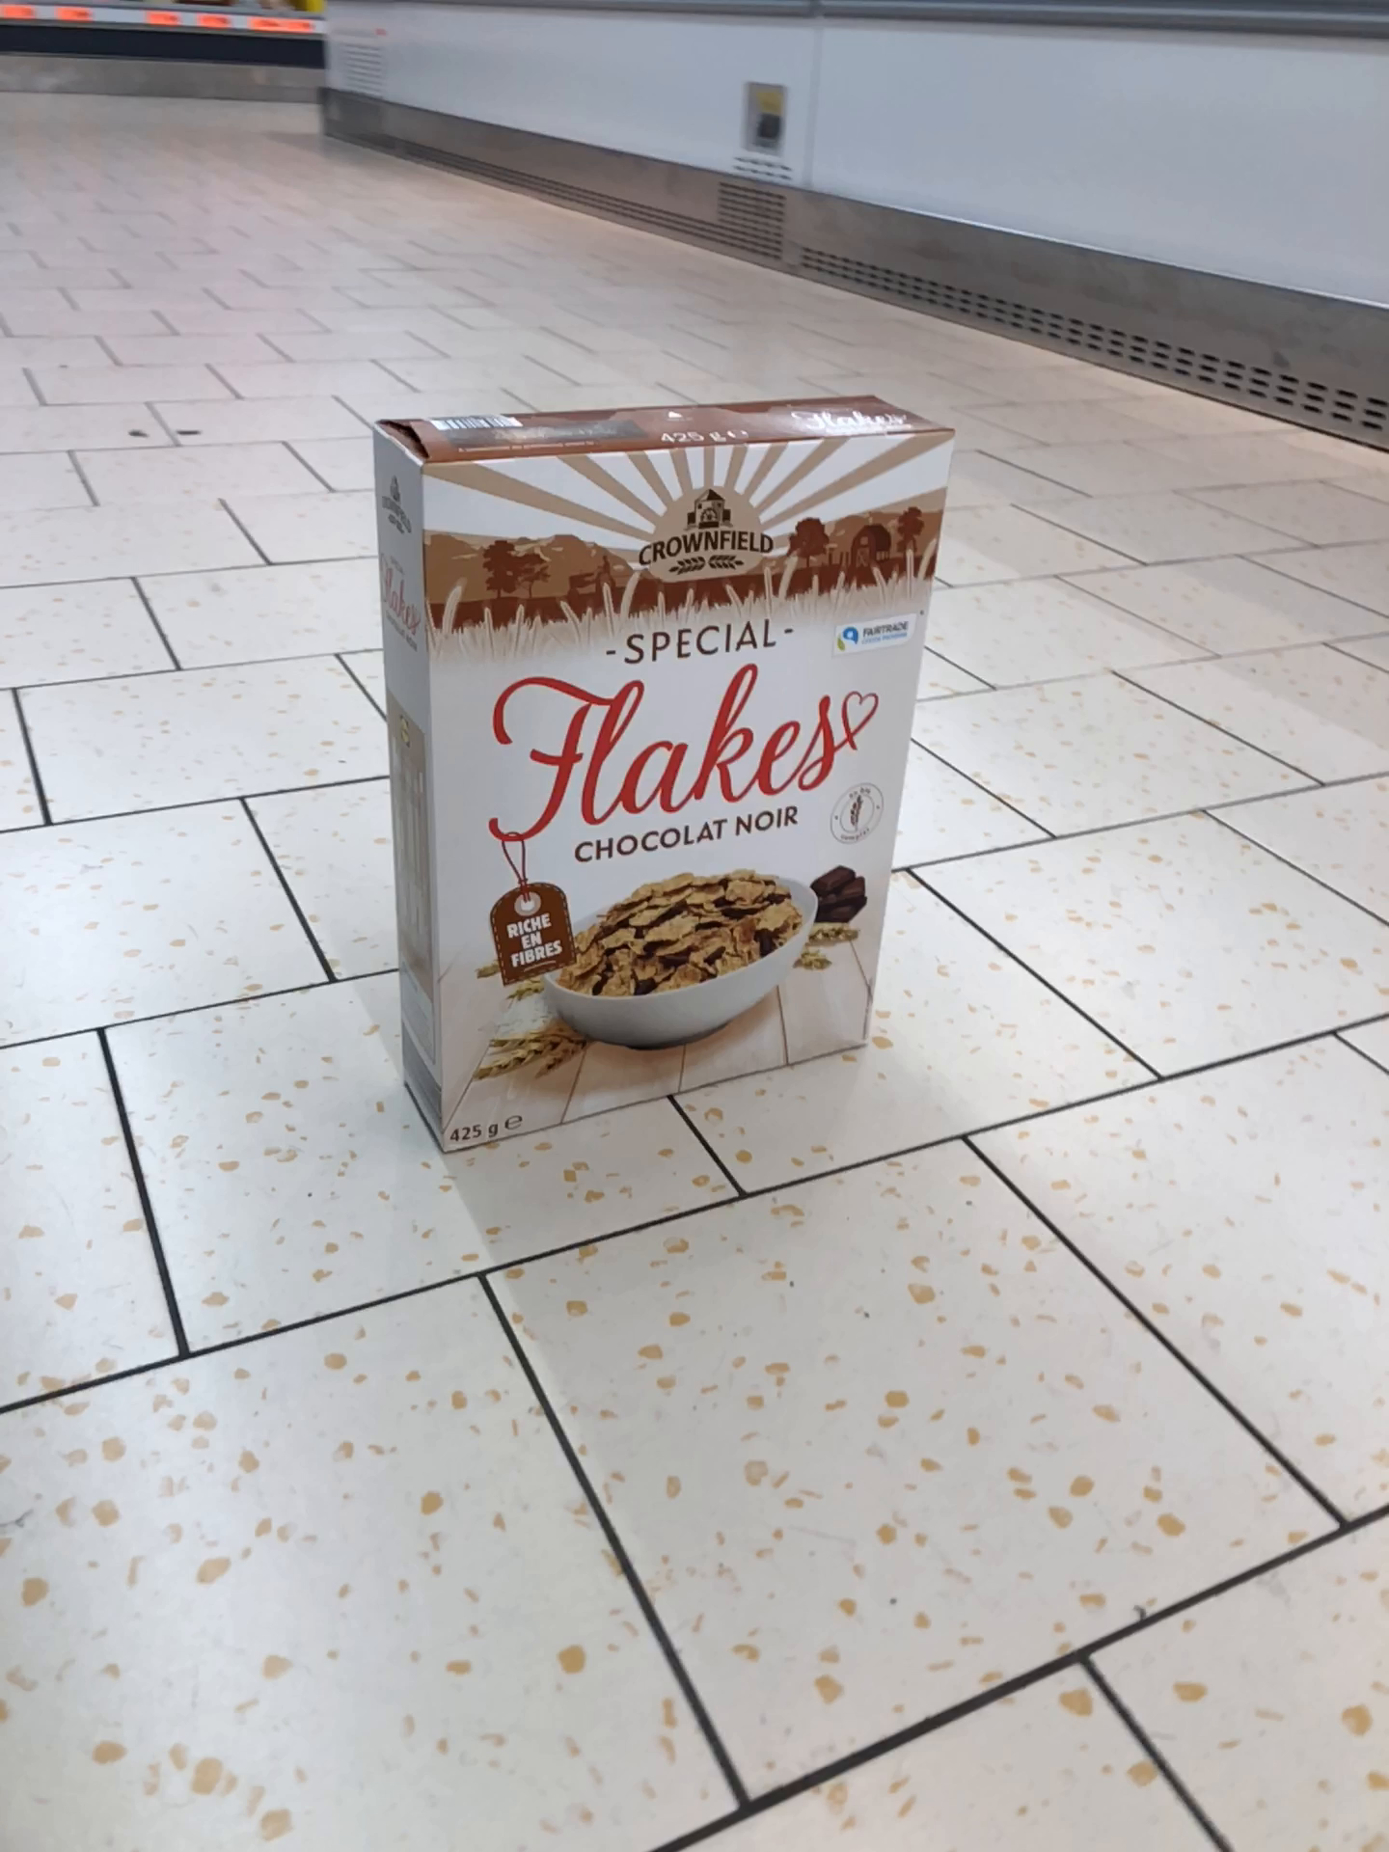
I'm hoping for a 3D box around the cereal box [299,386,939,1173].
[{"bbox_3d":[-0.028,-0.056,0.565,0.201,0.258,0.070,-11,32,-24],"label":"cereal box"}]
